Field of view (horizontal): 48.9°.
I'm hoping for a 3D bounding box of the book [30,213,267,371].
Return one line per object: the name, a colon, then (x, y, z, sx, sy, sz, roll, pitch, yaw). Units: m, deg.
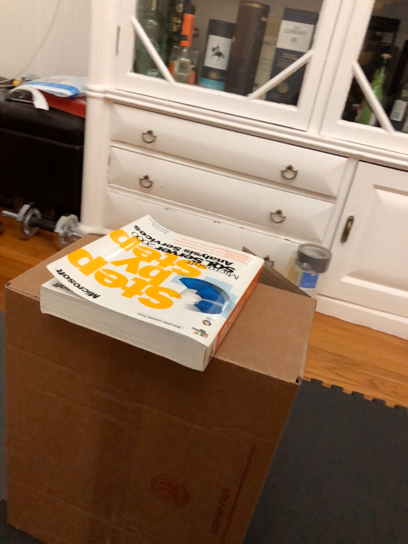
book: (-0.046, 0.003, 0.539, 0.200, 0.050, 0.241, 14, 25, 12)
